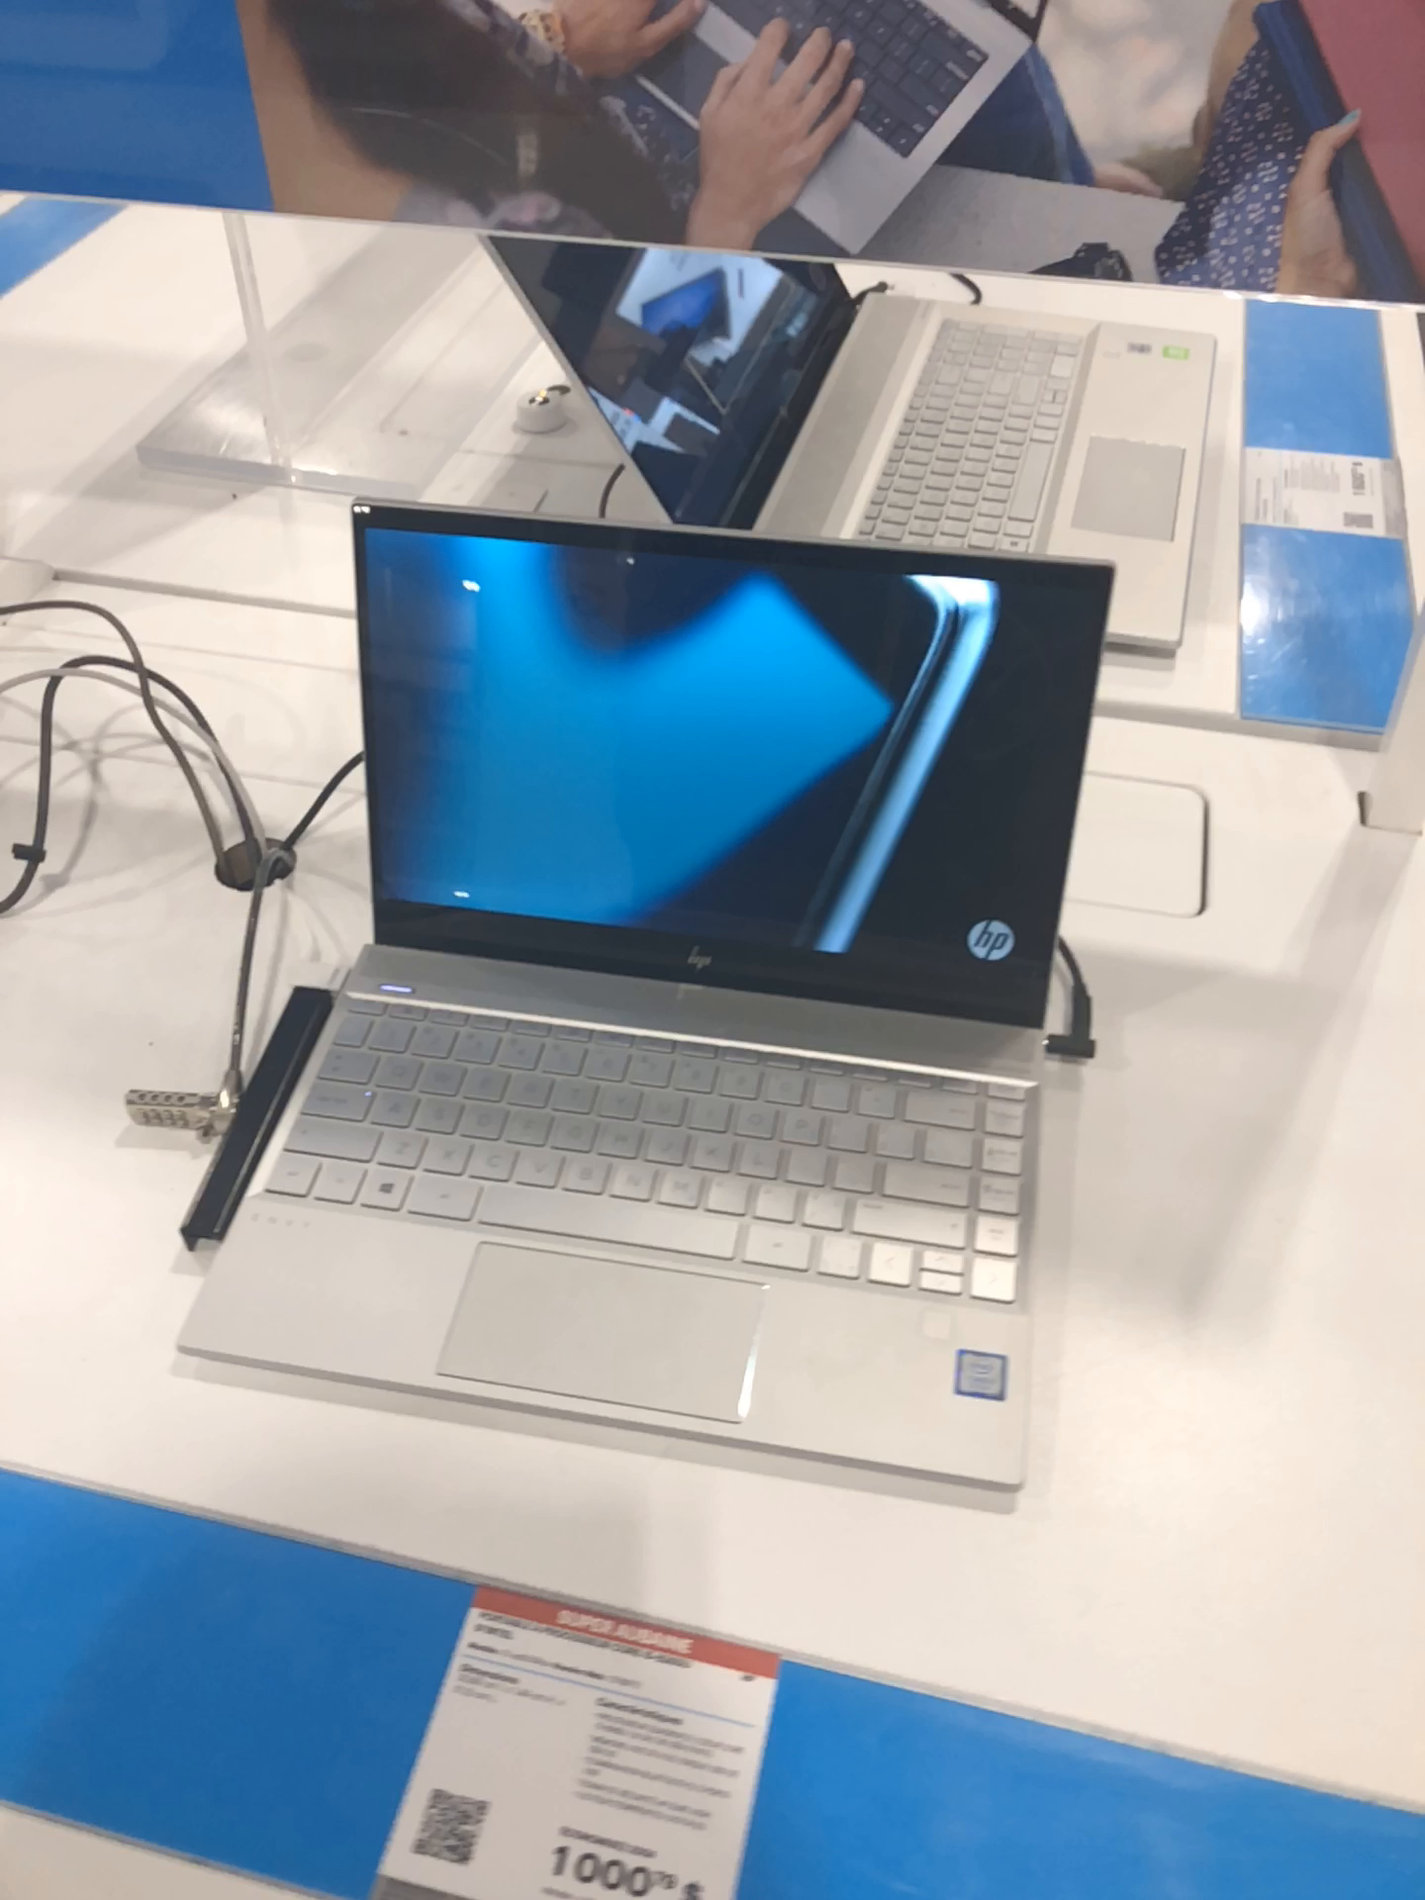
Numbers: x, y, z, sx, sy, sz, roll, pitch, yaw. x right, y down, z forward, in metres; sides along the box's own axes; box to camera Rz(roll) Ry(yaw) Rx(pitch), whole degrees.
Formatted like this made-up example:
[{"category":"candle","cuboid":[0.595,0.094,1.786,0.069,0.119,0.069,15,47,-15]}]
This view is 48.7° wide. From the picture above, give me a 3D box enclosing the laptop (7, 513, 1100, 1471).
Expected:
[{"category":"laptop","cuboid":[-0.023,0.000,0.583,0.298,0.182,0.273,6,45,8]}]
